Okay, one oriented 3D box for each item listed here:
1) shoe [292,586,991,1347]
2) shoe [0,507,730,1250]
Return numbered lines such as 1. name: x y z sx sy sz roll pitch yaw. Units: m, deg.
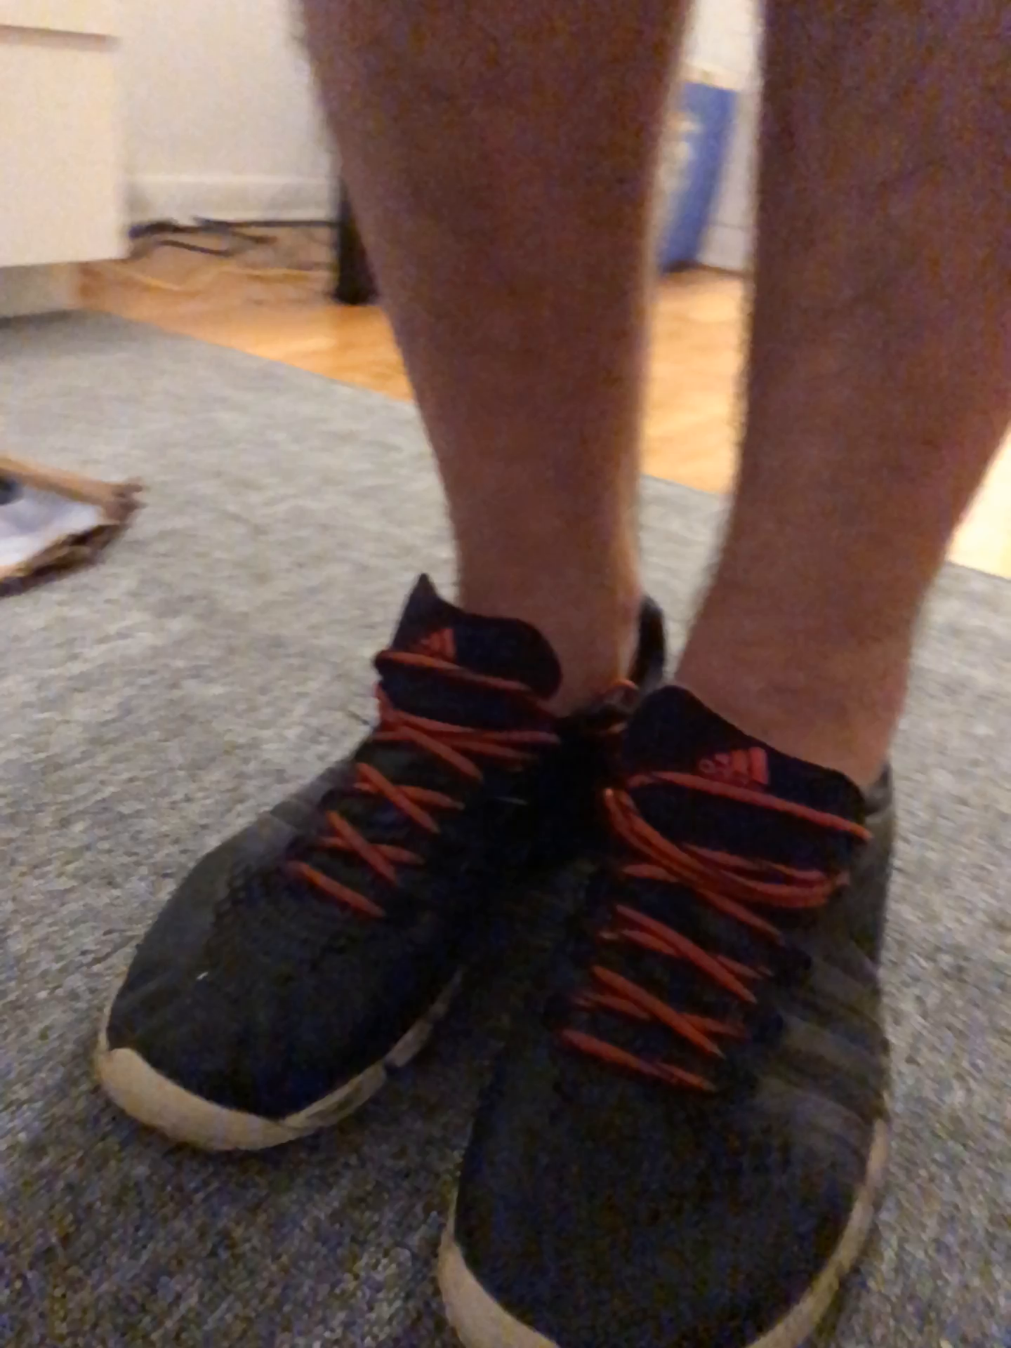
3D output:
1. shoe: 0.075 0.081 0.371 0.130 0.089 0.322 17 29 18
2. shoe: -0.038 0.036 0.415 0.120 0.099 0.302 21 31 25
